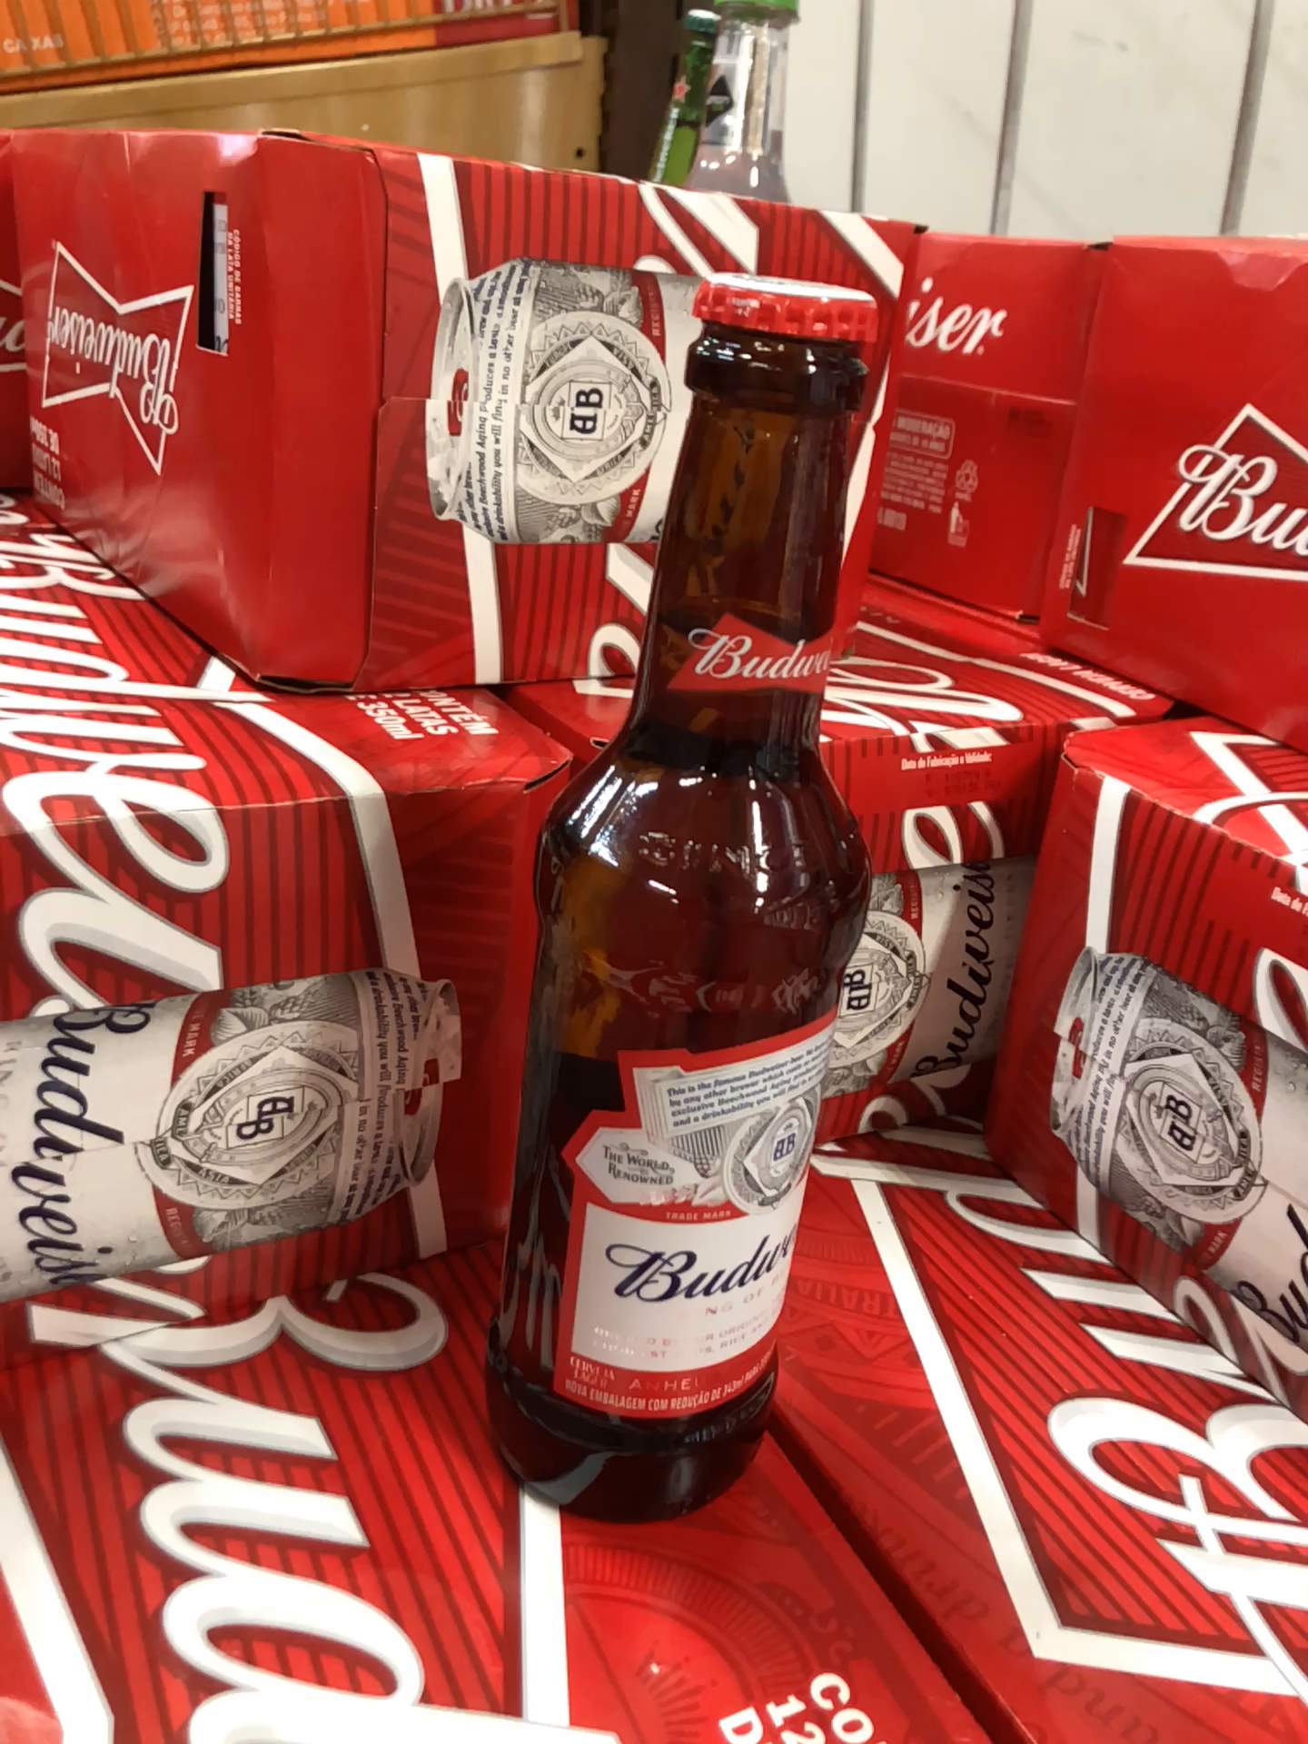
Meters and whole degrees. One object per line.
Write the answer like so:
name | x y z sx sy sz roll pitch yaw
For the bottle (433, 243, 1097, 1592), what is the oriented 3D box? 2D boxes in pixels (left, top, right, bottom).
bottle | 0.011 0.013 0.268 0.070 0.228 0.060 -12 29 -37
